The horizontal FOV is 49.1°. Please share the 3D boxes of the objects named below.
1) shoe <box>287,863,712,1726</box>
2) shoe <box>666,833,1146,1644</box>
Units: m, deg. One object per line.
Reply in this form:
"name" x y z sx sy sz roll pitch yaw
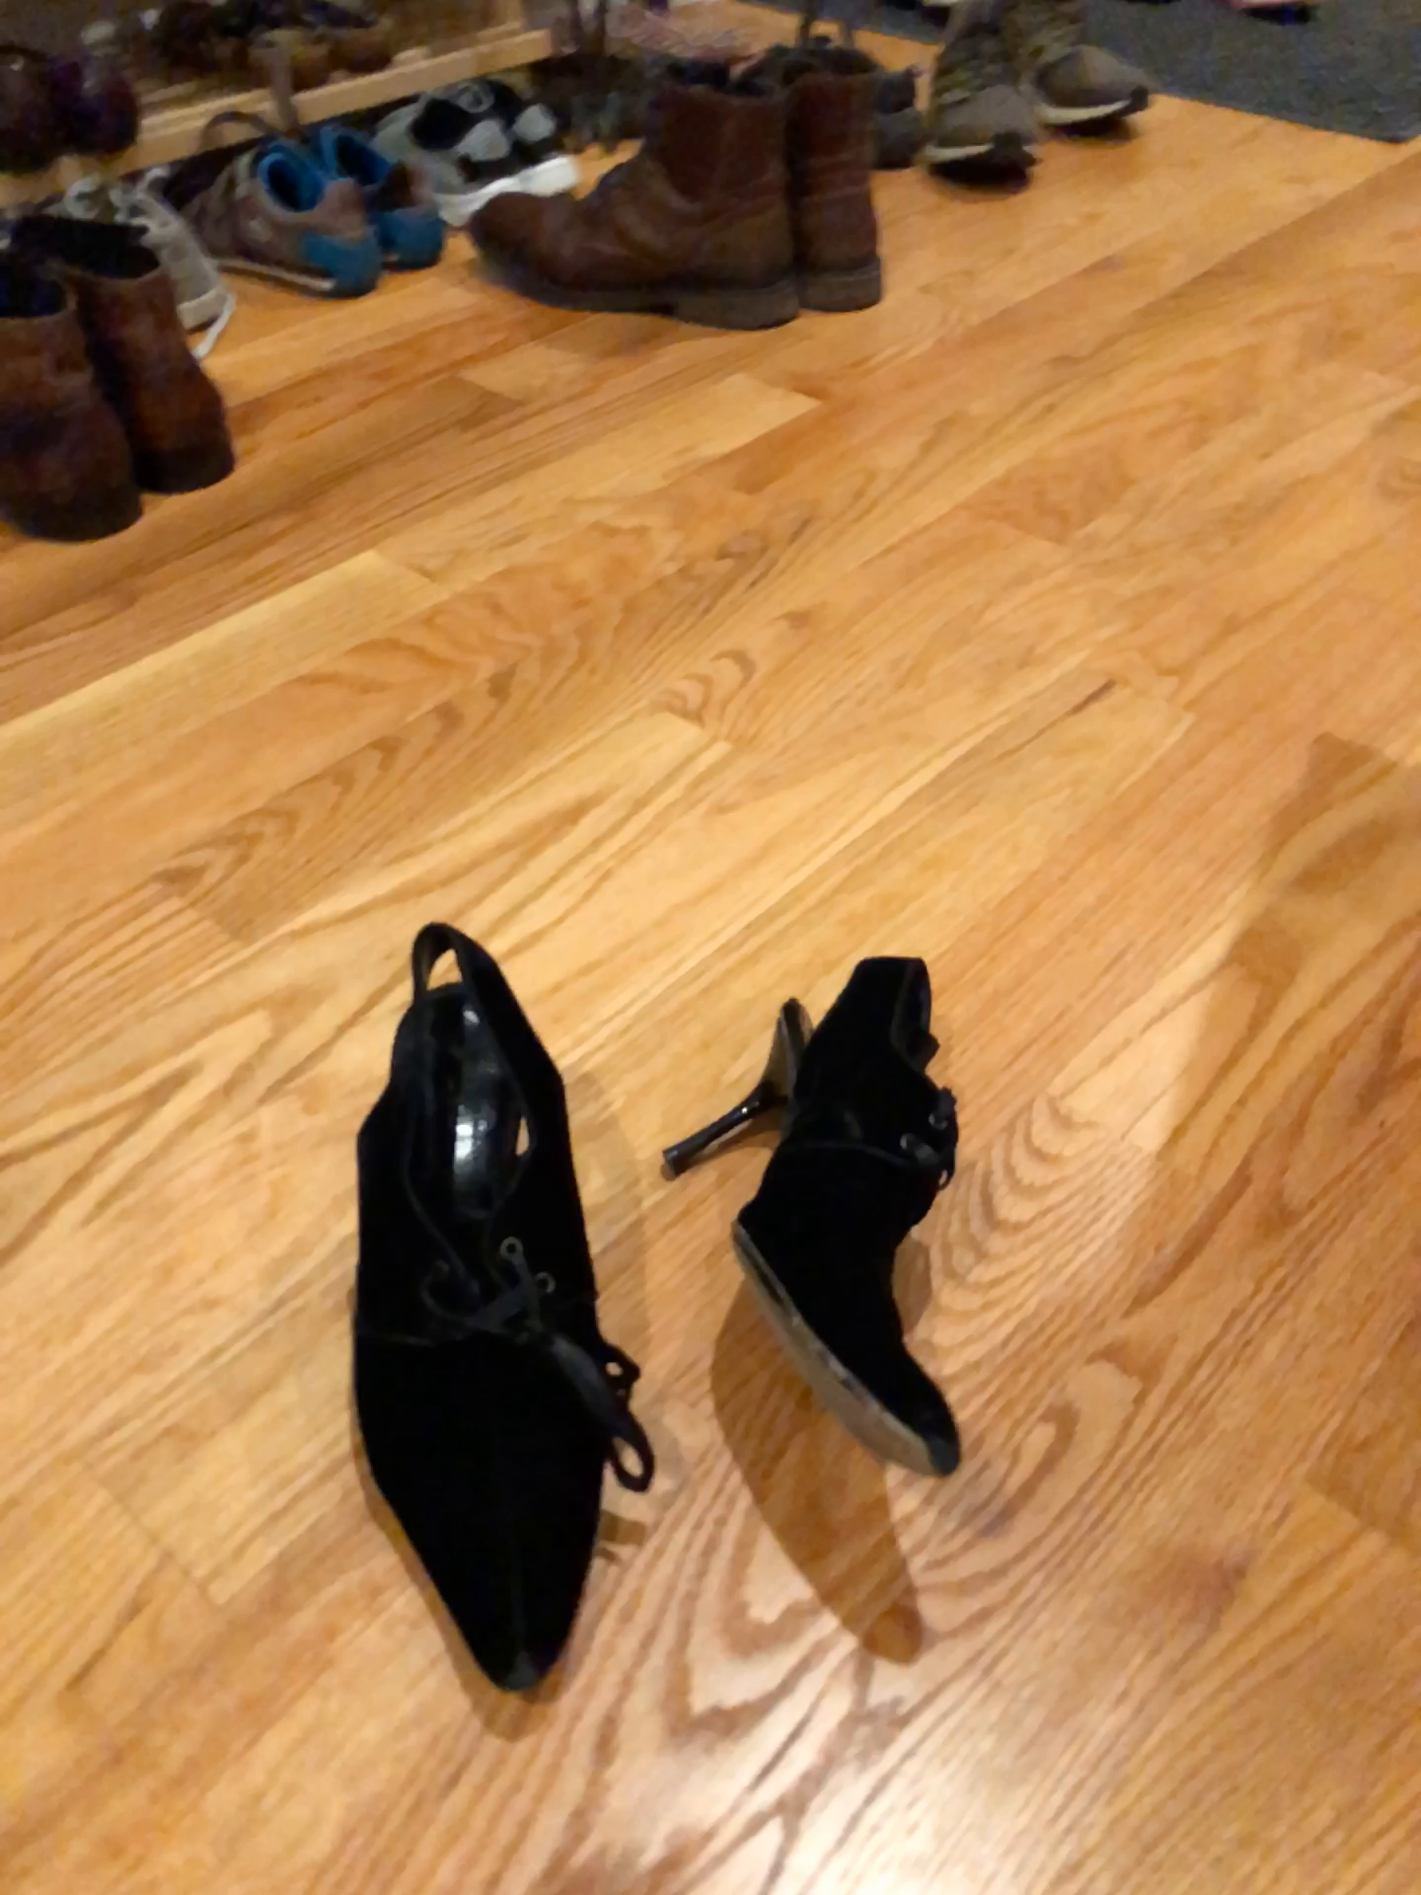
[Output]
"shoe" -0.071 0.101 0.526 0.107 0.117 0.253 -5 43 -6
"shoe" 0.049 0.084 0.531 0.118 0.107 0.253 -3 43 -2
